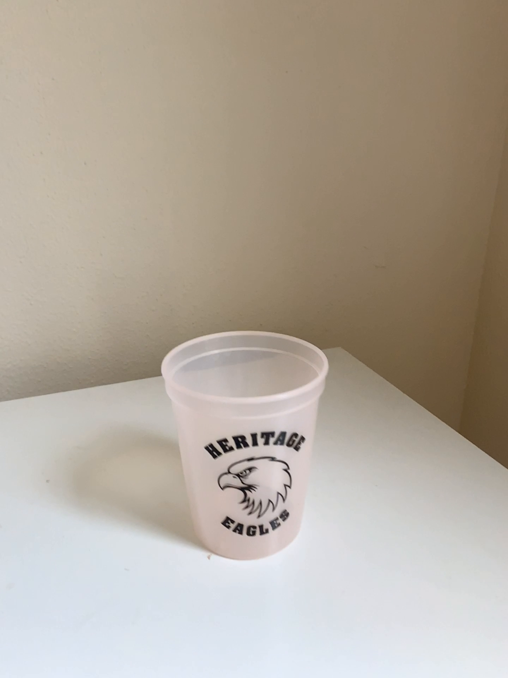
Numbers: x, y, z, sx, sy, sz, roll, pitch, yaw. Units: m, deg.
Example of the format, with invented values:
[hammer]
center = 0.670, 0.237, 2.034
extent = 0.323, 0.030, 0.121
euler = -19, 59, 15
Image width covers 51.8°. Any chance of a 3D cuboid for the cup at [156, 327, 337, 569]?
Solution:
[cup]
center = -0.007, 0.060, 0.316
extent = 0.090, 0.110, 0.080
euler = -3, 22, -7
